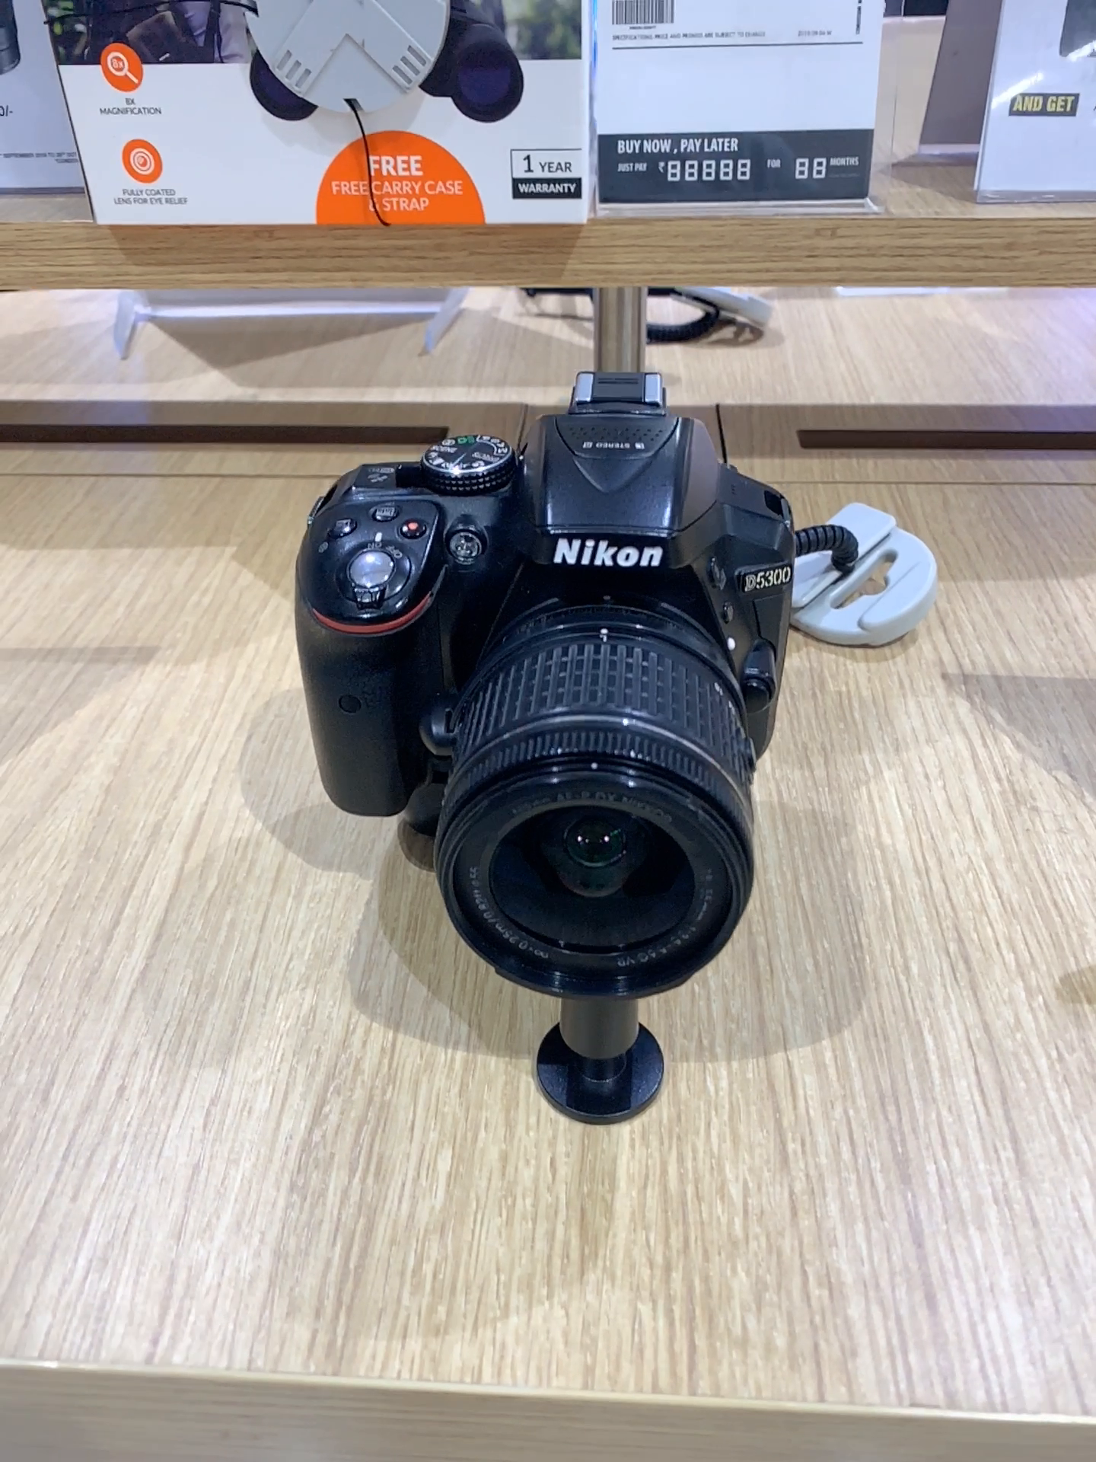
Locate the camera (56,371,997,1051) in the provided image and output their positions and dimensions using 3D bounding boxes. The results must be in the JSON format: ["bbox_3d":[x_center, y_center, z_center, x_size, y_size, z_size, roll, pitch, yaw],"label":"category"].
[{"bbox_3d":[-0.001,-0.012,0.228,0.130,0.080,0.121,0,37,2],"label":"camera"}]
